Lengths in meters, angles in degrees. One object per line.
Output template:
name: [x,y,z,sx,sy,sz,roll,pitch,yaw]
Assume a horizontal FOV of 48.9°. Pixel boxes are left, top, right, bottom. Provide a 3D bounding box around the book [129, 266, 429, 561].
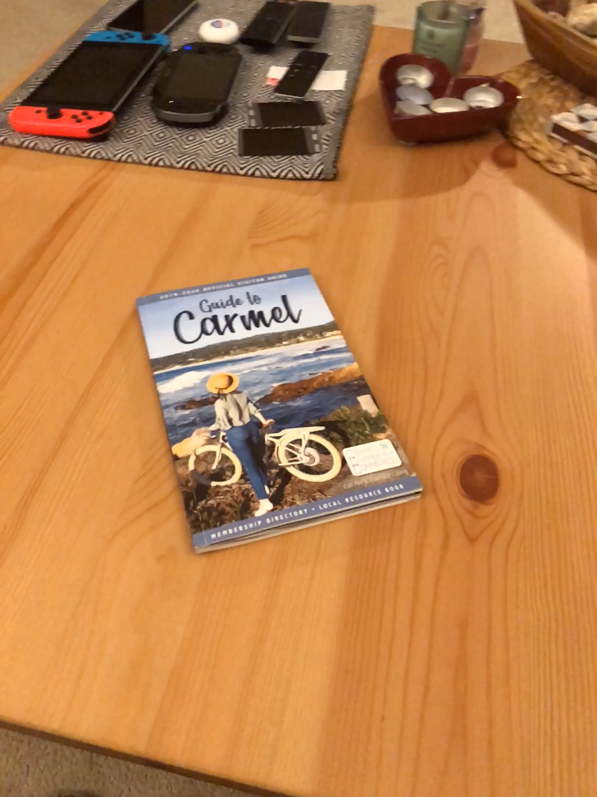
book: [-0.024,-0.008,0.420,0.137,0.010,0.208,-12,50,-13]
